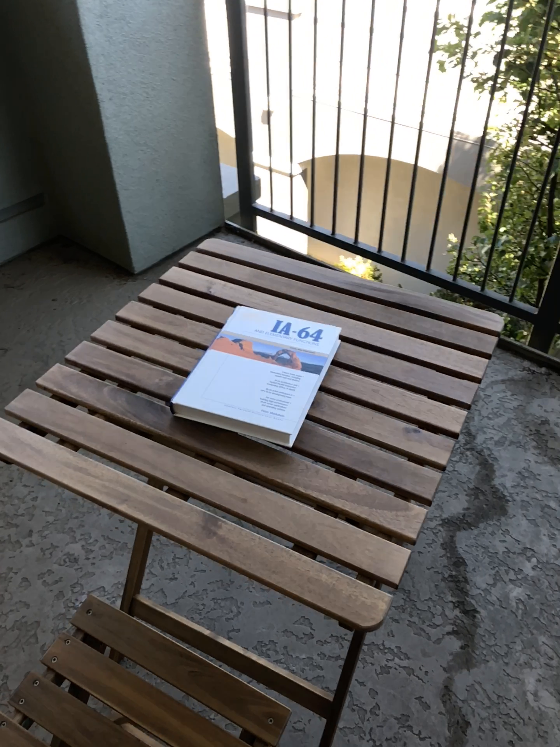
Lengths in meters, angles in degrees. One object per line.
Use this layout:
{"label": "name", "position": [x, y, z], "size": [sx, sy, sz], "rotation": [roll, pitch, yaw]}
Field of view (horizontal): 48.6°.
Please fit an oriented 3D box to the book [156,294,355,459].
{"label": "book", "position": [-0.025, -0.009, 0.890], "size": [0.200, 0.040, 0.251], "rotation": [14, 45, 16]}
